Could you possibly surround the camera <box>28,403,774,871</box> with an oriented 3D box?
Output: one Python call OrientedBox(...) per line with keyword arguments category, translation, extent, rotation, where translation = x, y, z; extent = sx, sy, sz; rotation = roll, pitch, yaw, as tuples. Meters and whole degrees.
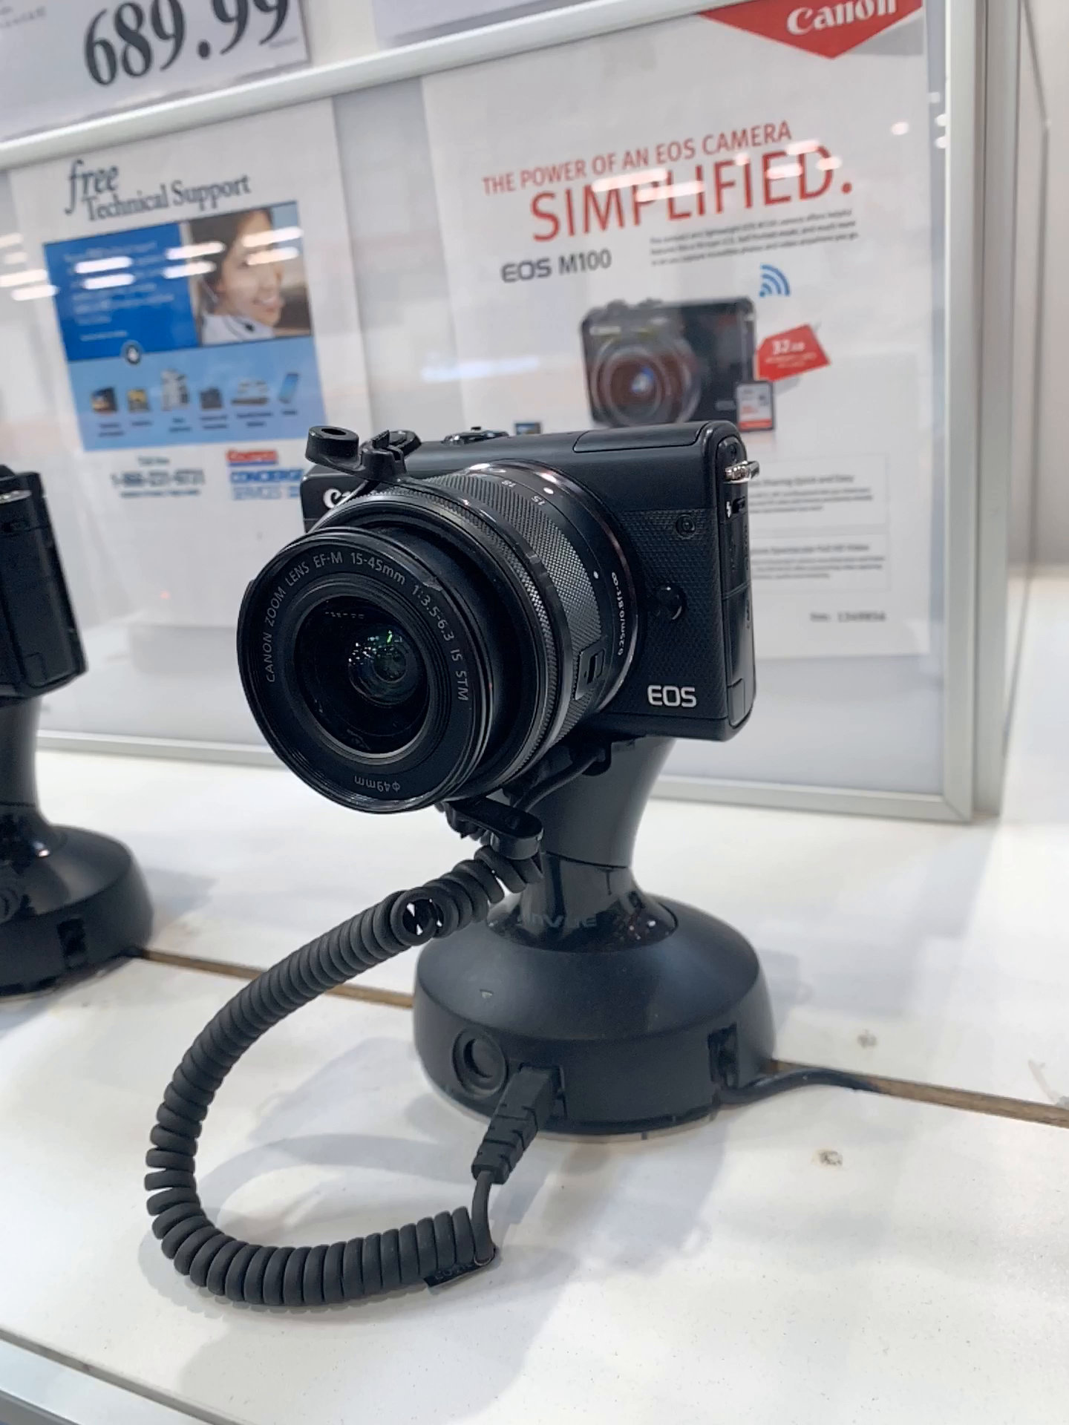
OrientedBox(category="camera", translation=(-0.020, -0.023, 0.224), extent=(0.110, 0.066, 0.093), rotation=(4, 15, 30))
